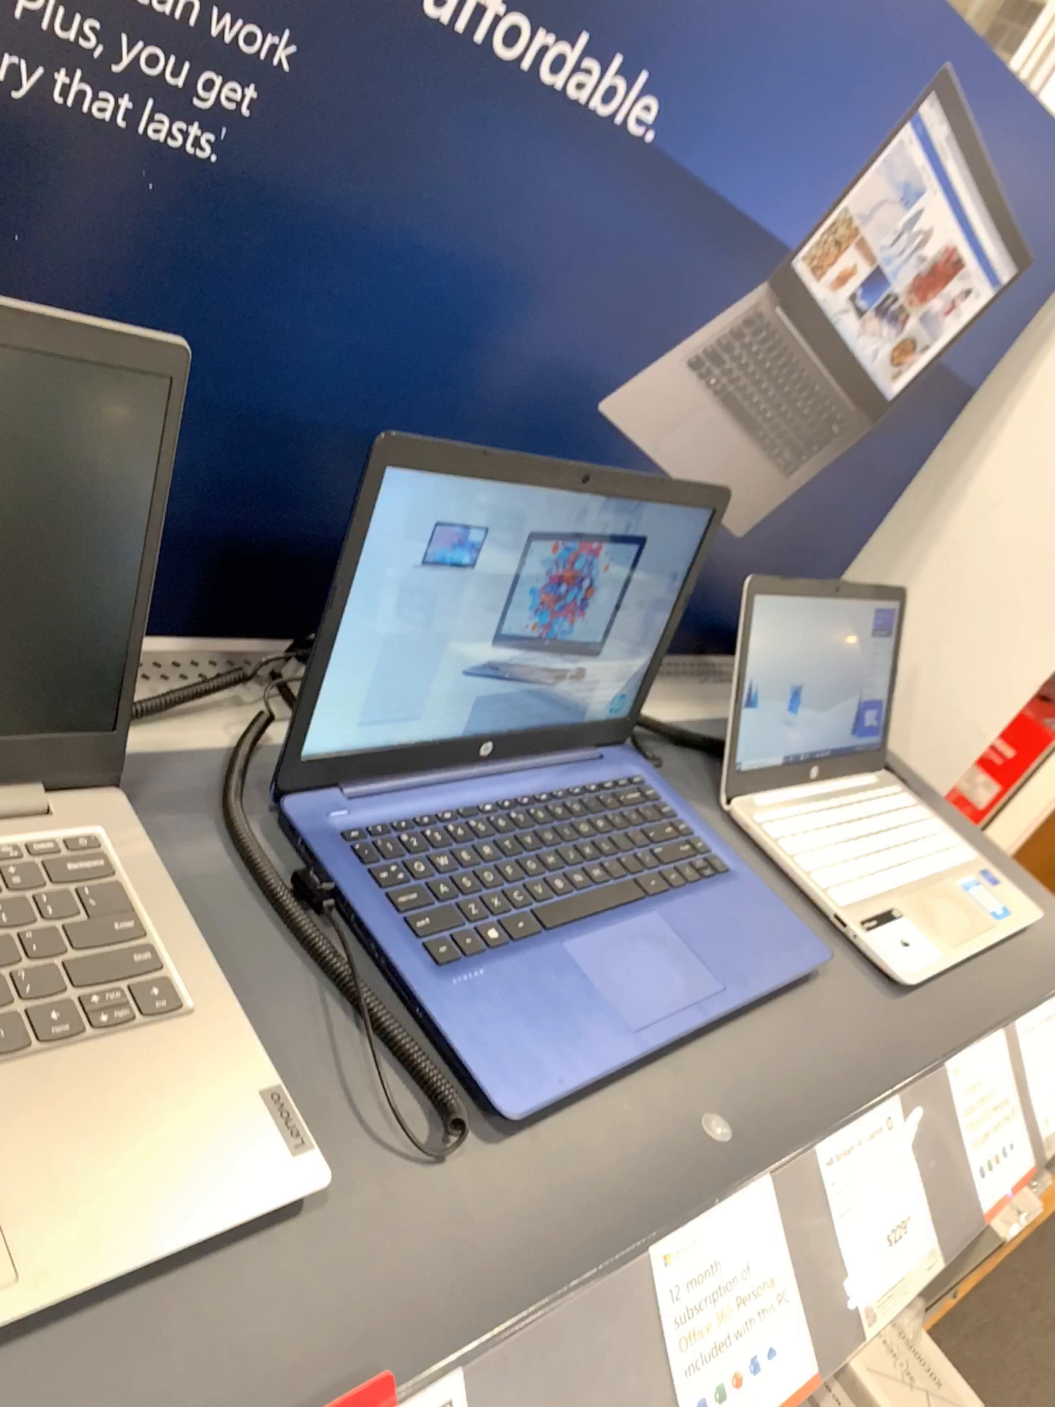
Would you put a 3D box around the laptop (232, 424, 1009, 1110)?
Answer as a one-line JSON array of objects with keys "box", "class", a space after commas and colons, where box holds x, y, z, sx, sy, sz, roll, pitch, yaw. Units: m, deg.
[{"box": [0.060, 0.018, 0.634, 0.323, 0.208, 0.252, -5, 44, -50], "class": "laptop"}]
